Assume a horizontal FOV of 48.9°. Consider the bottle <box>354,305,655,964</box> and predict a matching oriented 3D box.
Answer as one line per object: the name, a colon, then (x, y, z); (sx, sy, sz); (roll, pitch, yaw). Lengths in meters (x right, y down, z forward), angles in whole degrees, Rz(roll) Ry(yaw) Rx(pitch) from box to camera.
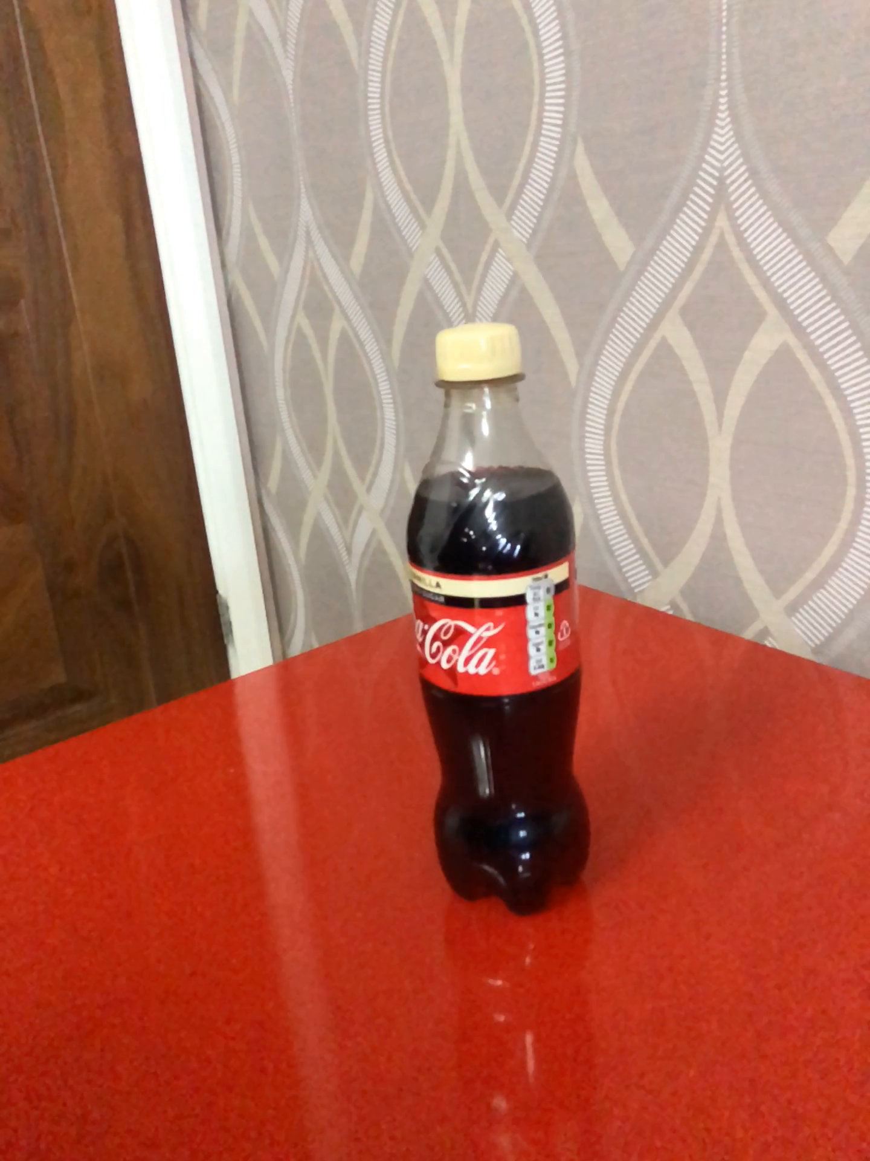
bottle: (0.033, 0.019, 0.382); (0.080, 0.239, 0.070); (-17, 22, -30)
